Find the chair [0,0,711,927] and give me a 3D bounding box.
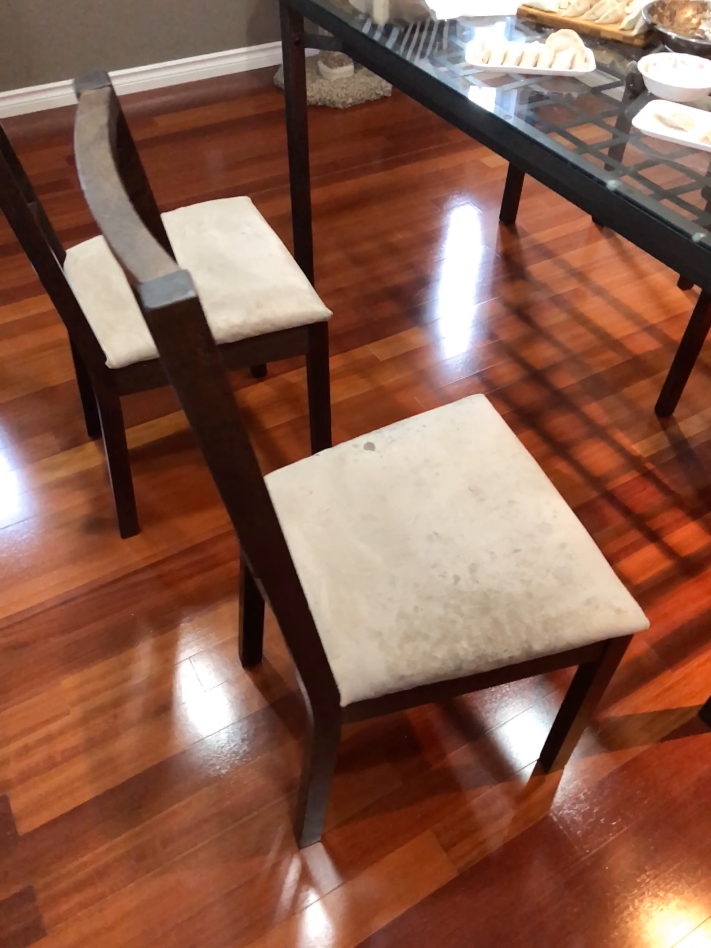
[{"bbox_3d":[0.019,0.007,0.959,0.540,0.994,0.593,-18,50,-17],"label":"chair"}]
